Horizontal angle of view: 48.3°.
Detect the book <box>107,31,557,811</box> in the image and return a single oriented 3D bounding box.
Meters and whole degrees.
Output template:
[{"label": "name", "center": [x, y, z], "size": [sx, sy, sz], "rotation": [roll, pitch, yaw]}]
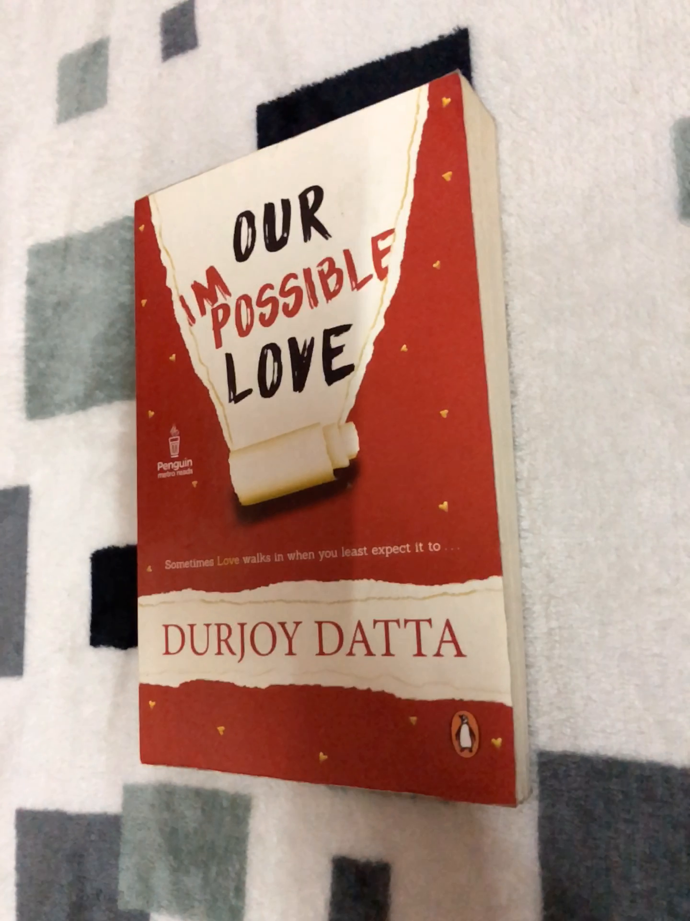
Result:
[{"label": "book", "center": [-0.013, -0.007, 0.240], "size": [0.130, 0.030, 0.200], "rotation": [-7, 83, 29]}]
